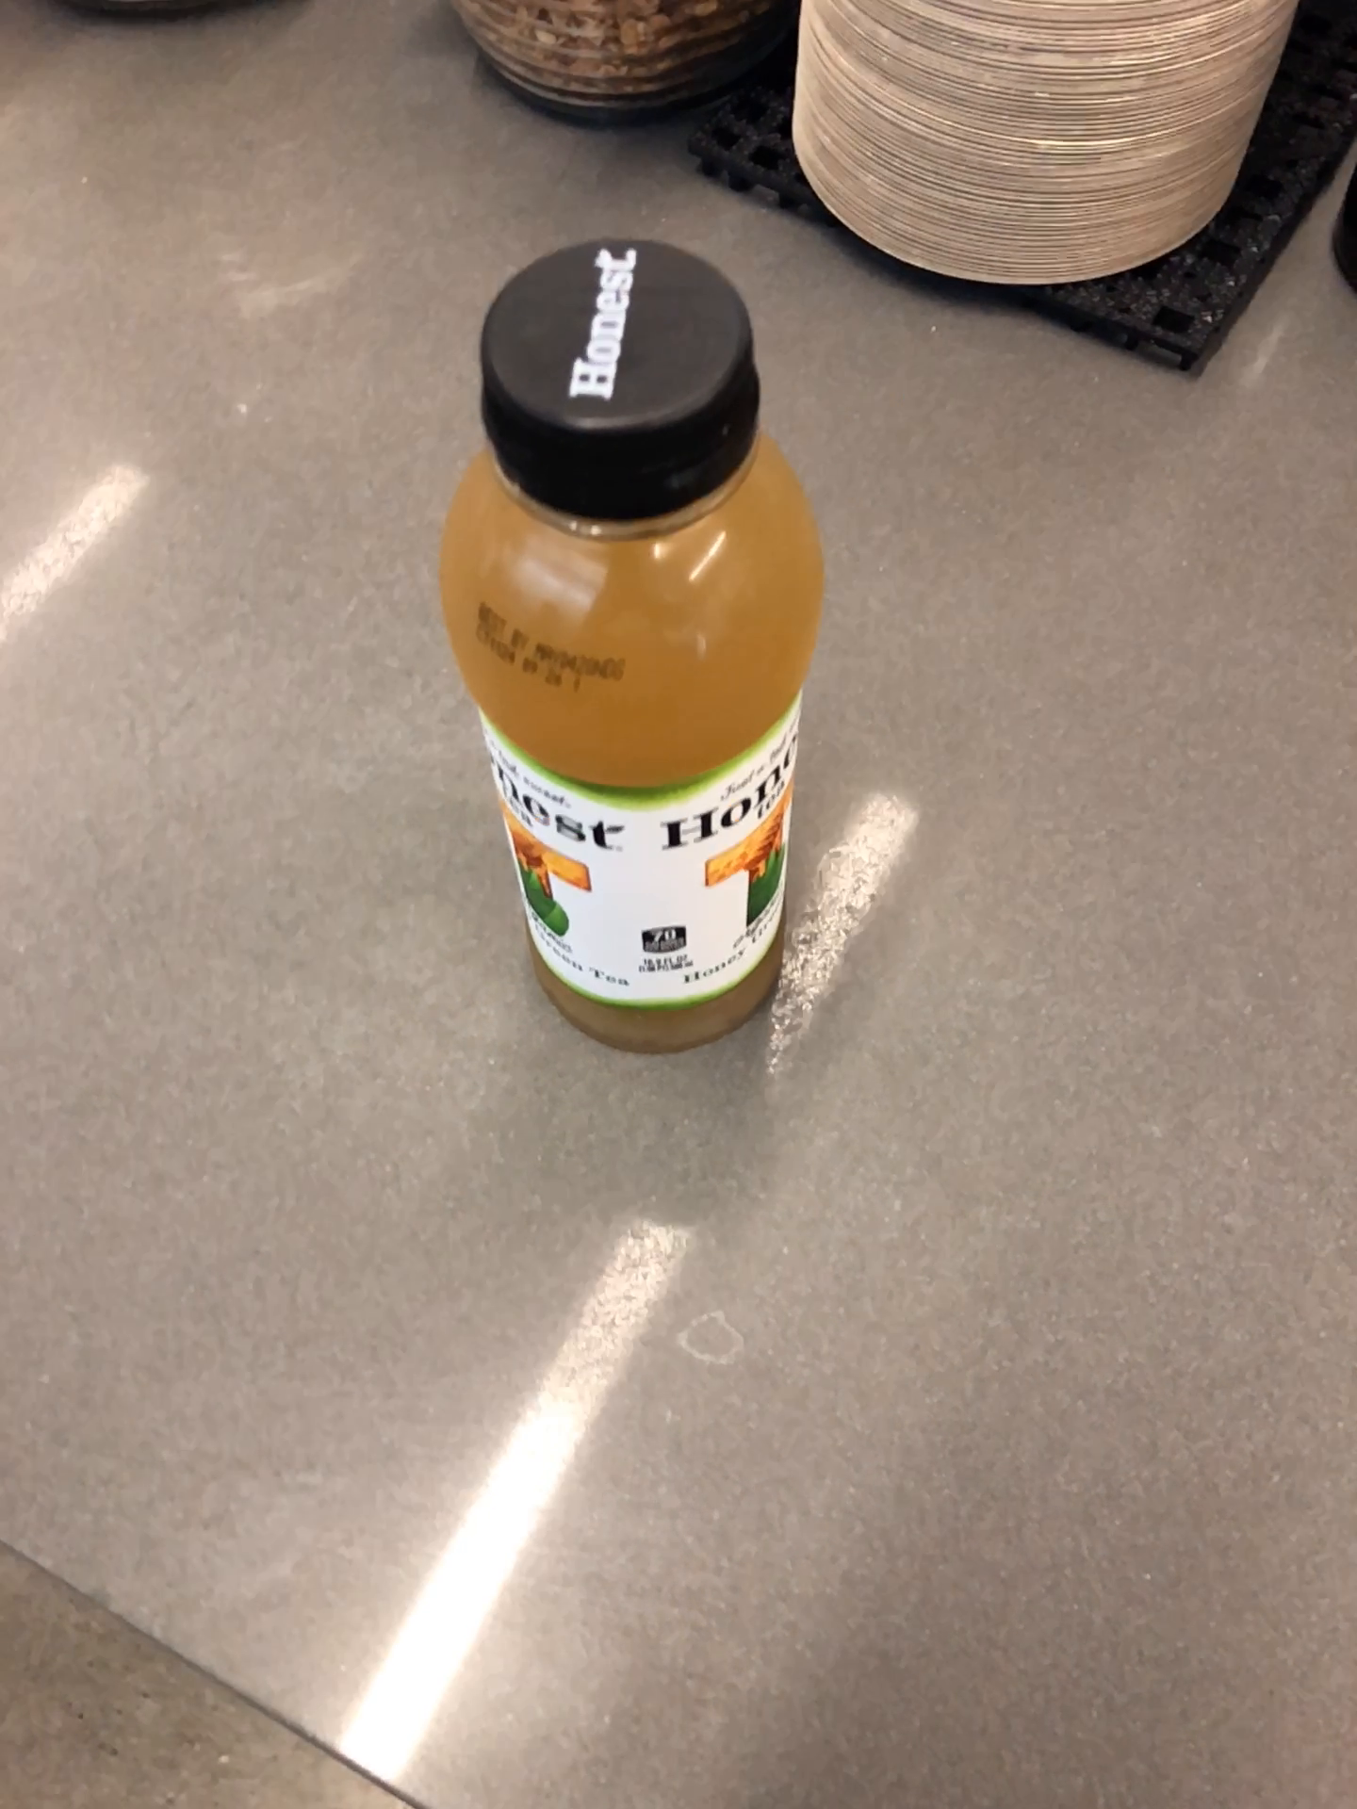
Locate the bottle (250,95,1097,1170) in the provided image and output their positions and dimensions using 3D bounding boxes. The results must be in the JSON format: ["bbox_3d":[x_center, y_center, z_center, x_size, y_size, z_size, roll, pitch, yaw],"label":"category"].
[{"bbox_3d":[0.000,-0.037,0.309,0.090,0.190,0.090,0,62,1],"label":"bottle"}]
